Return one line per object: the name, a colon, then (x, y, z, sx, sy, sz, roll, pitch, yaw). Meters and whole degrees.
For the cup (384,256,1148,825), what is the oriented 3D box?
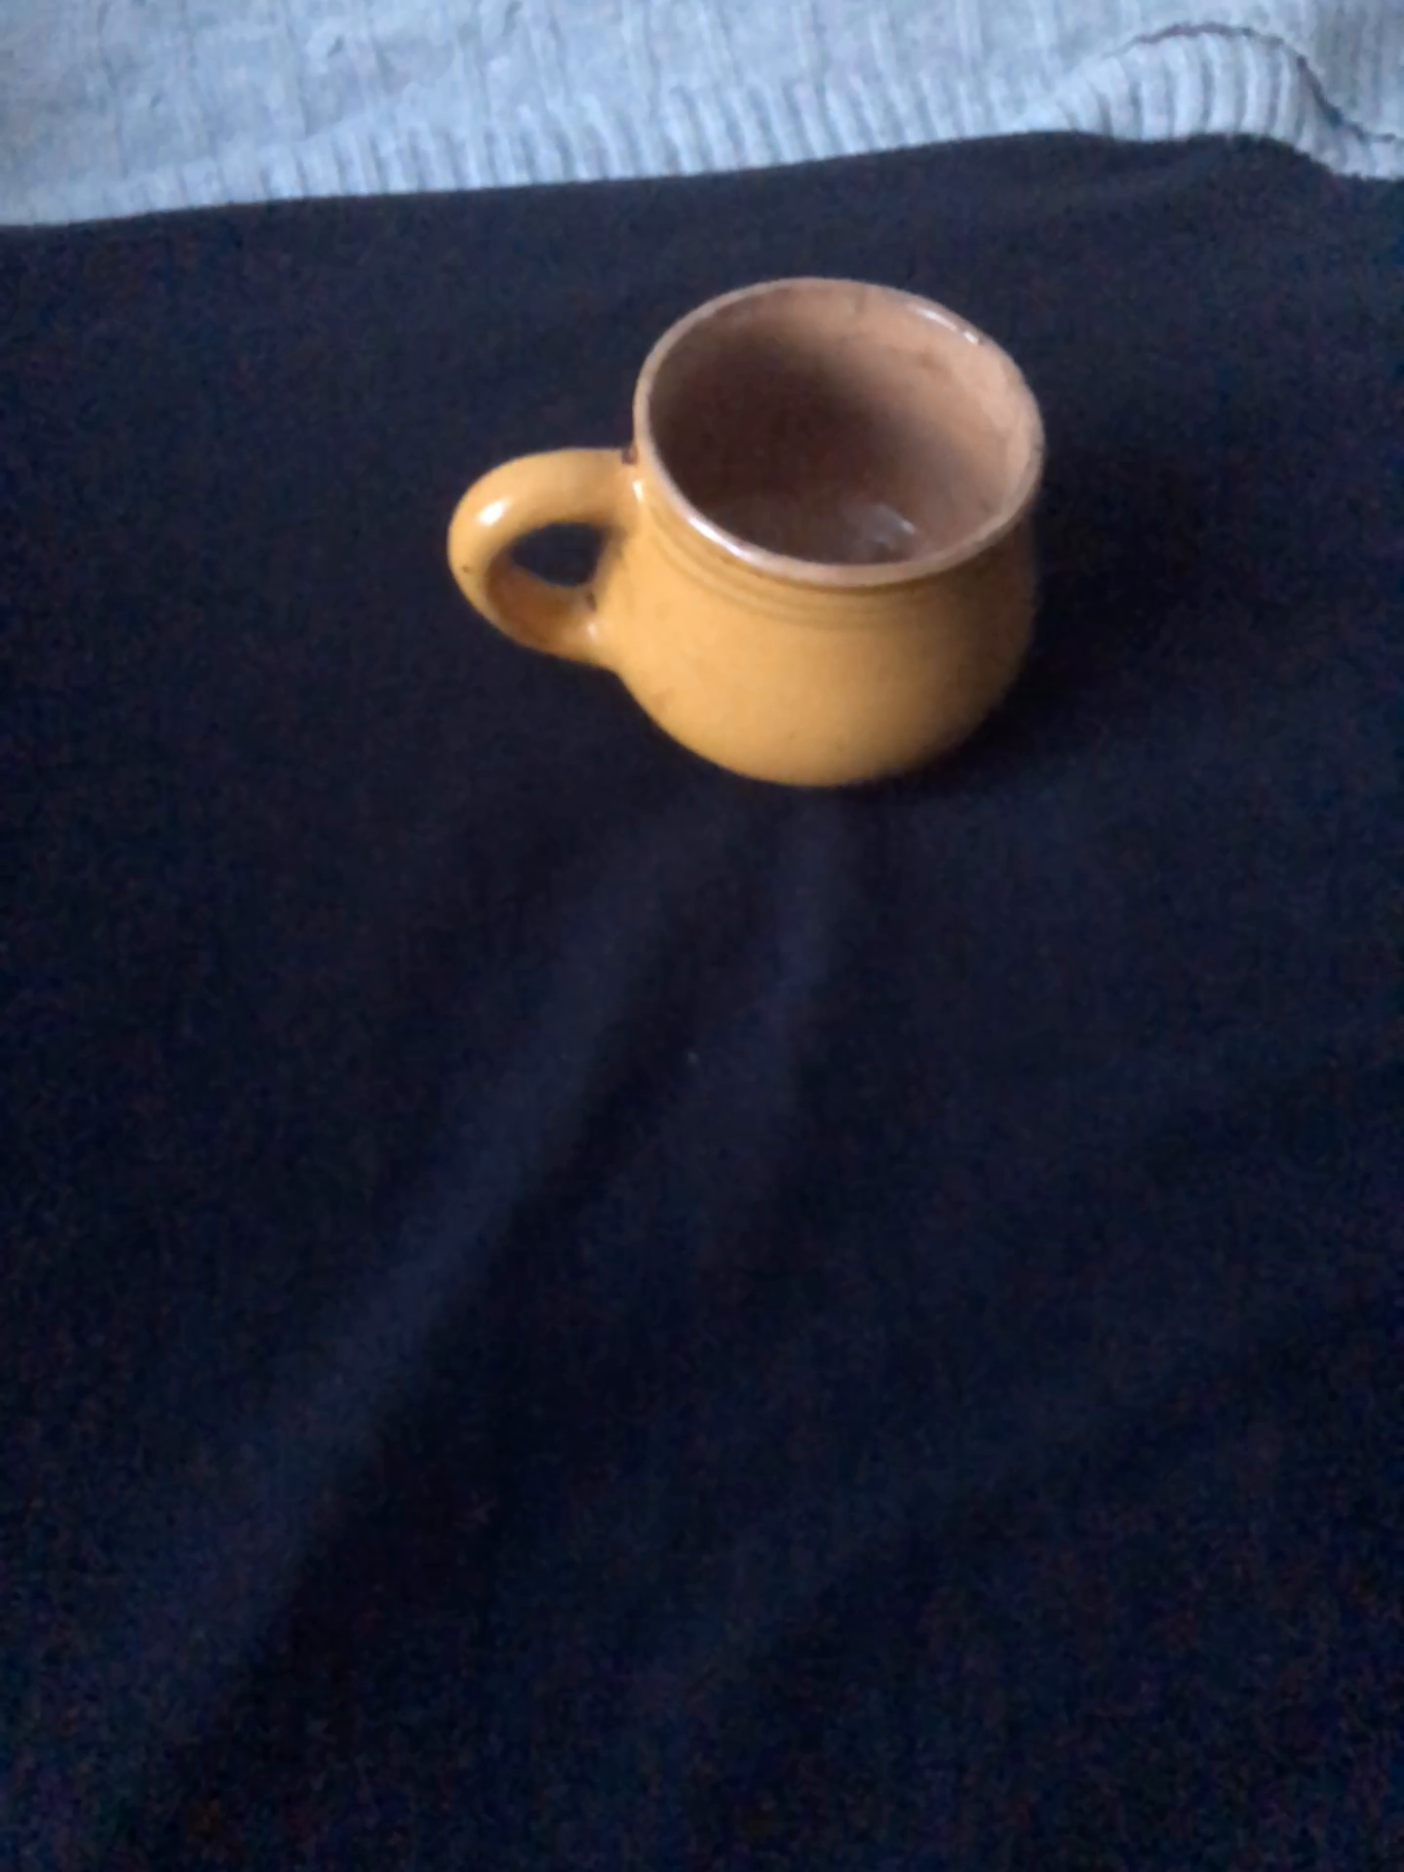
cup: (0.007, -0.072, 0.289, 0.119, 0.058, 0.082, -2, 60, -5)
